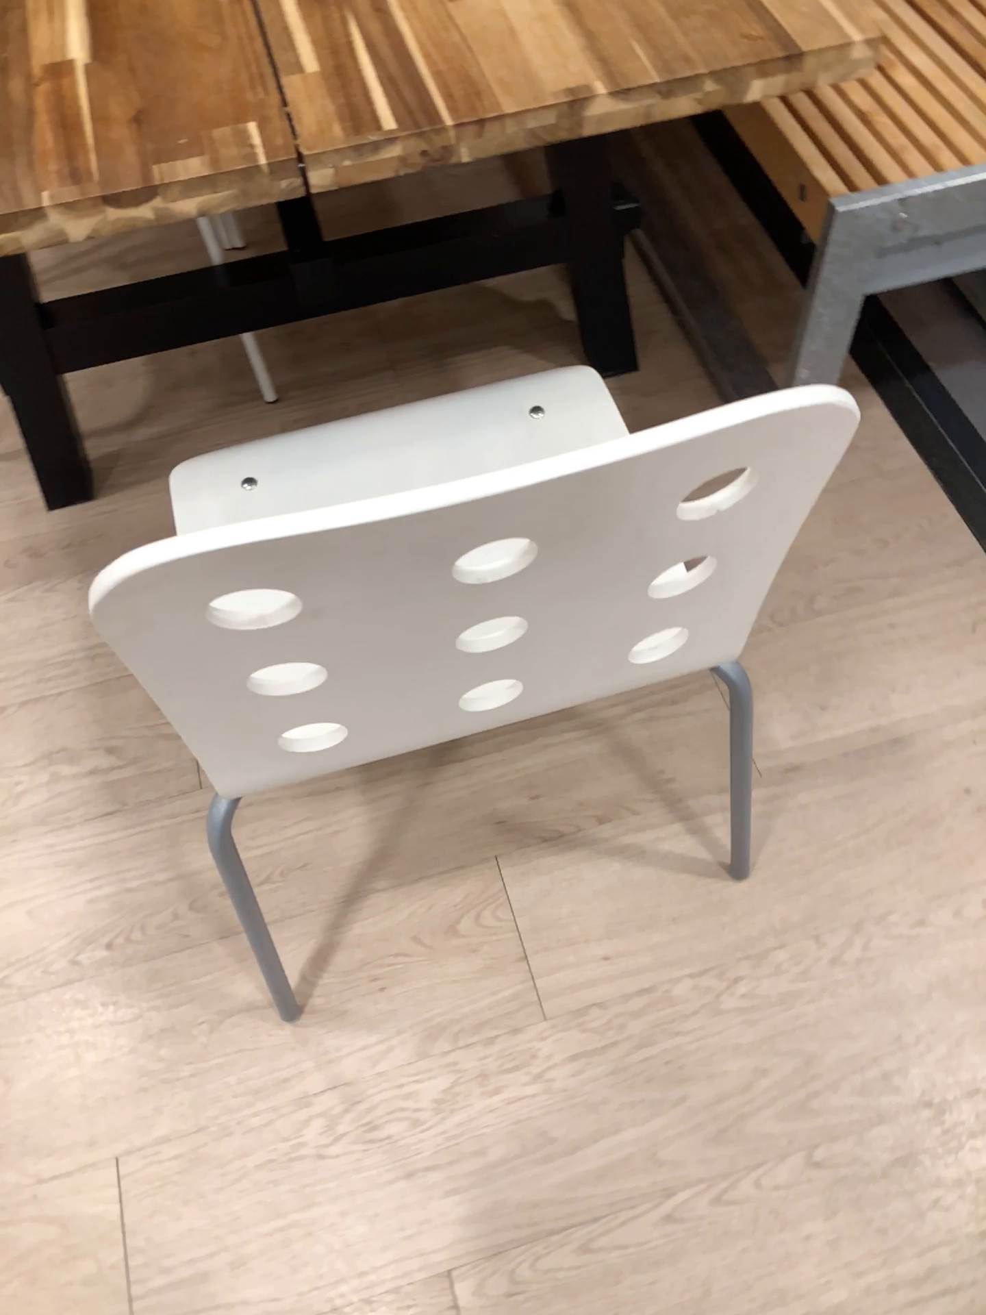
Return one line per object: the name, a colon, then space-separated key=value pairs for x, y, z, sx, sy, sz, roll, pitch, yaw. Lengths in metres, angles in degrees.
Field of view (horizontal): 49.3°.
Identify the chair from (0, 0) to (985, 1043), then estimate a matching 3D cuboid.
chair: x=-0.043 y=-0.084 z=0.947 sx=0.570 sy=0.717 sz=0.492 roll=-17 pitch=58 yaw=-8
